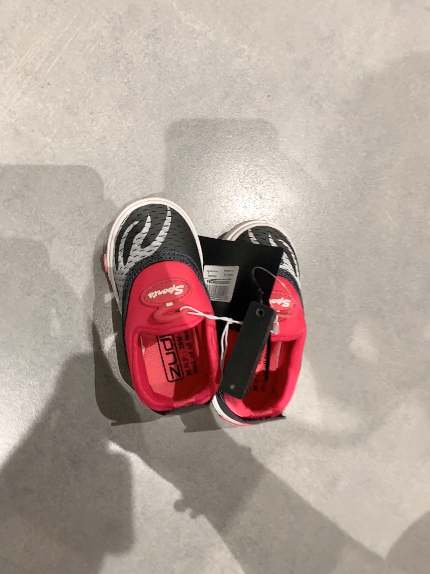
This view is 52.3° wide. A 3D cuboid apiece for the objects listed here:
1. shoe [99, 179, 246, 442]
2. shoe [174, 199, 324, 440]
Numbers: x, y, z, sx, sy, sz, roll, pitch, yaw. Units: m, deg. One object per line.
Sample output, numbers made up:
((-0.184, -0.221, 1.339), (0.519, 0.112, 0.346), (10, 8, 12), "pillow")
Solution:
((-0.030, 0.013, 0.277), (0.060, 0.060, 0.140), (-10, 90, -15), "shoe")
((0.021, 0.022, 0.298), (0.070, 0.060, 0.140), (8, 85, -14), "shoe")
